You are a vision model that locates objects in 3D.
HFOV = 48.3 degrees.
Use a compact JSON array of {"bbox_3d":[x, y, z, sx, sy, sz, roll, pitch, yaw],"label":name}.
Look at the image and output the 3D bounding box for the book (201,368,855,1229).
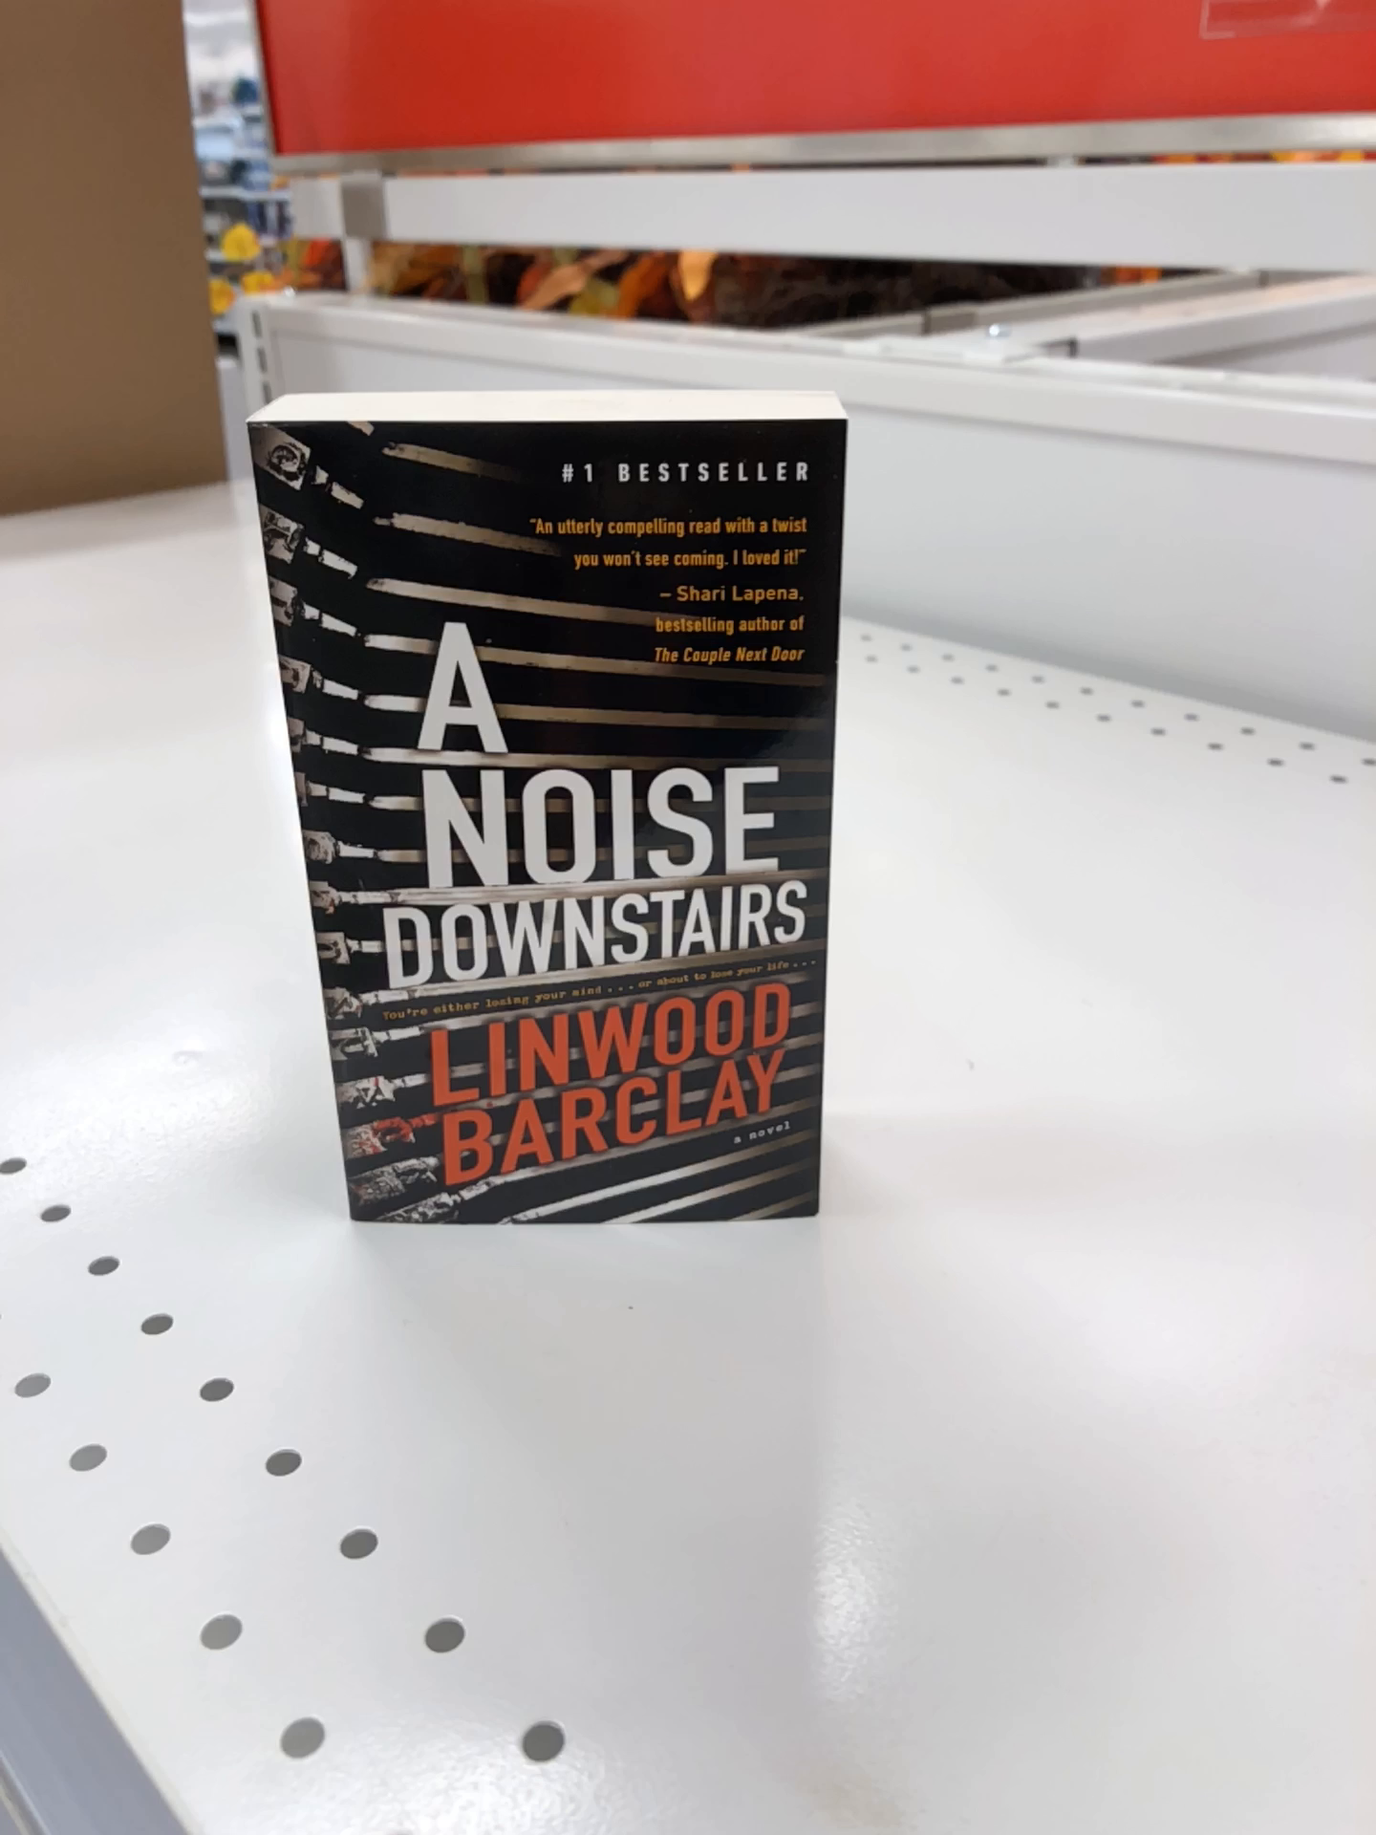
[{"bbox_3d":[-0.024,-0.018,0.312,0.110,0.170,0.041,0,27,3],"label":"book"}]
